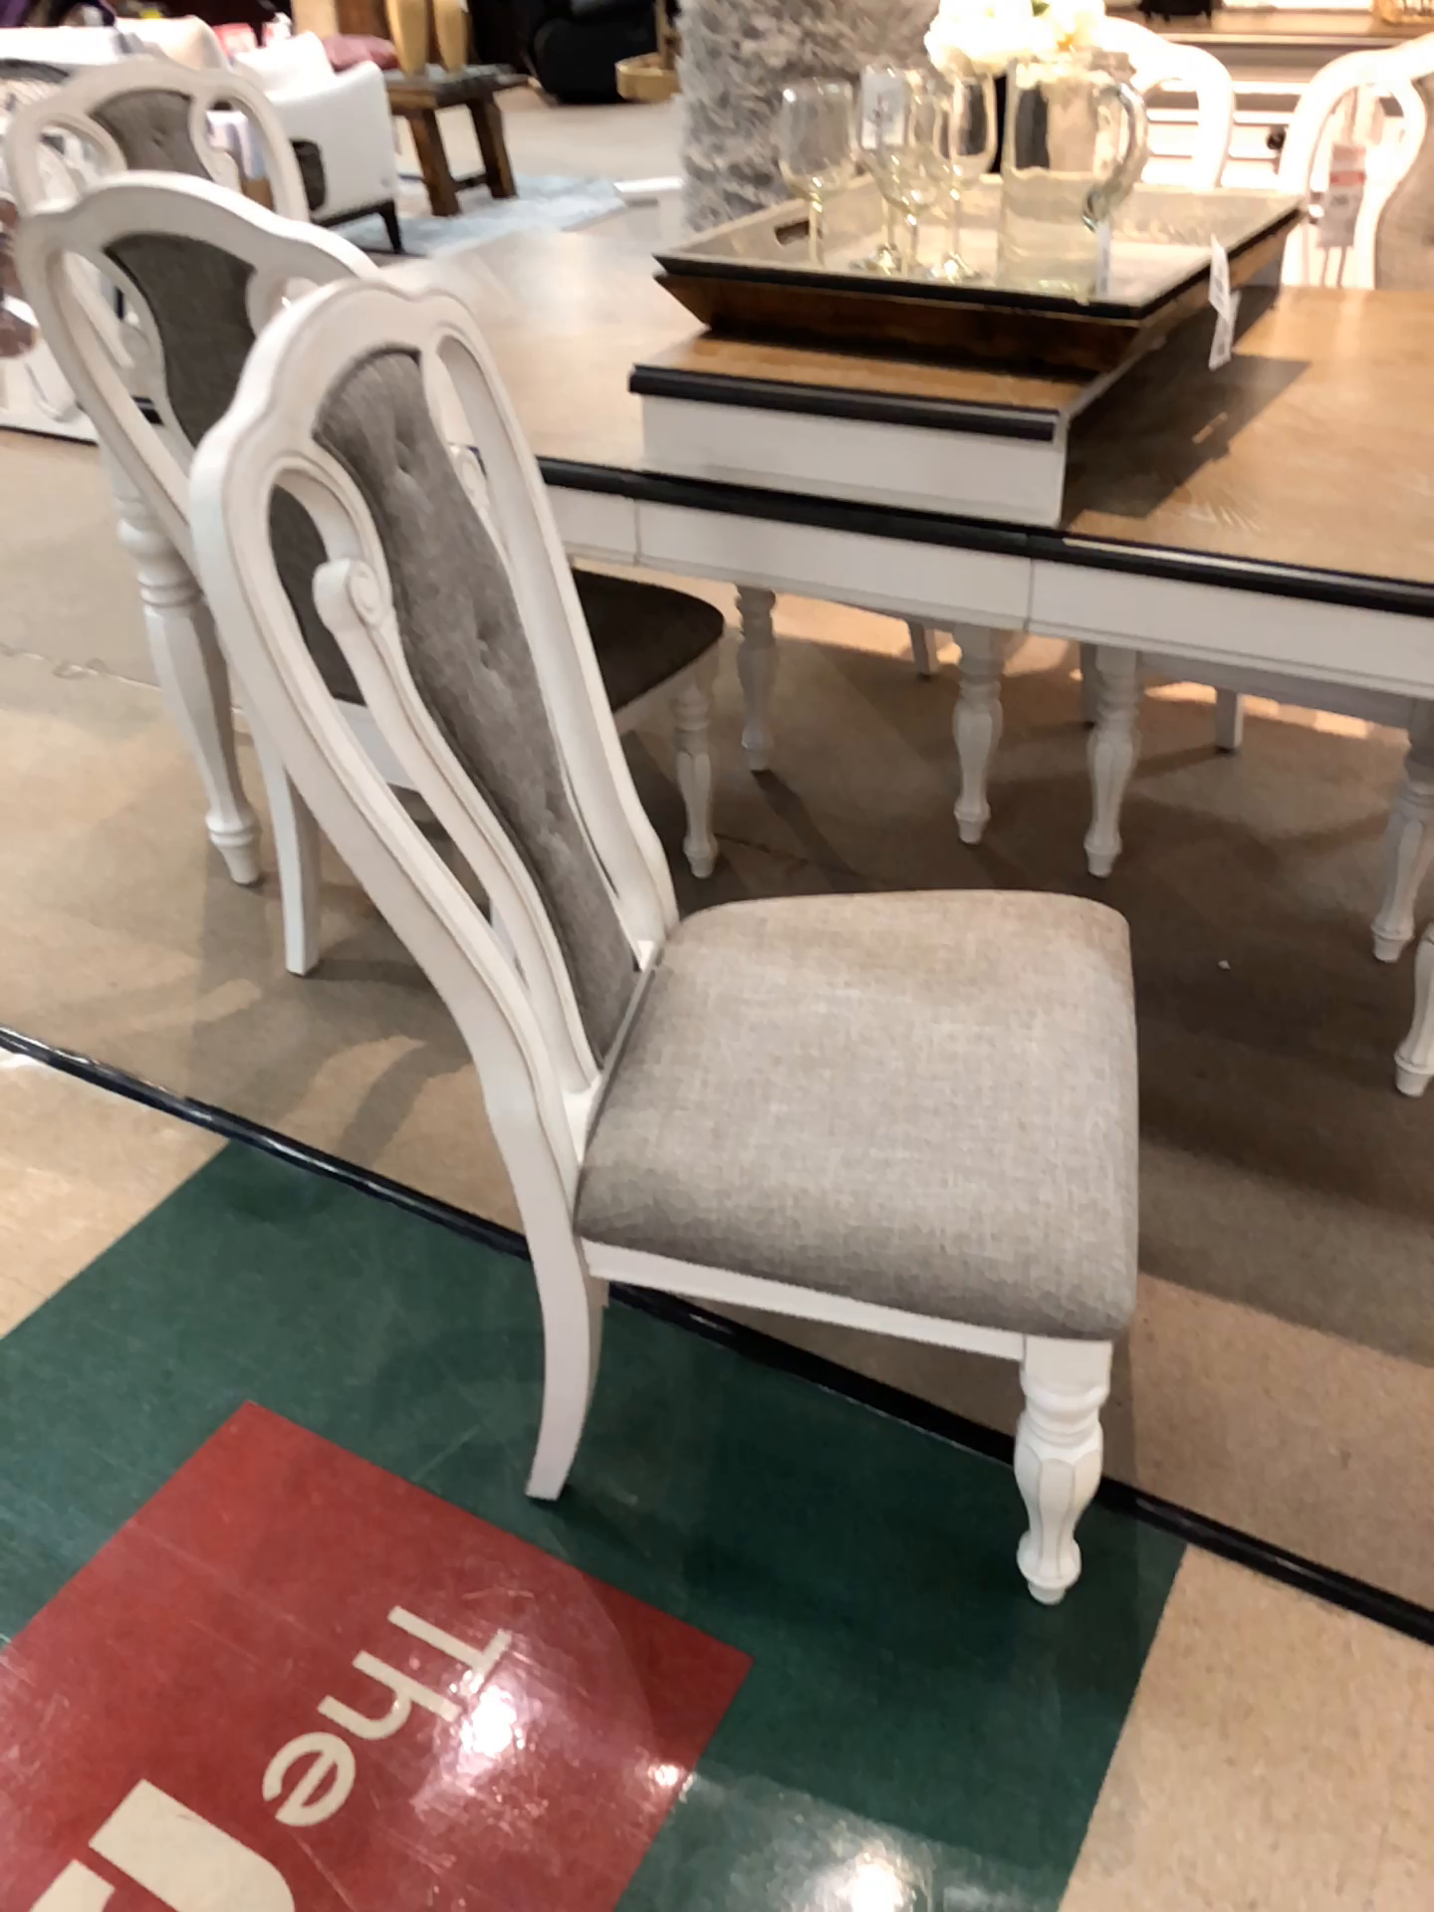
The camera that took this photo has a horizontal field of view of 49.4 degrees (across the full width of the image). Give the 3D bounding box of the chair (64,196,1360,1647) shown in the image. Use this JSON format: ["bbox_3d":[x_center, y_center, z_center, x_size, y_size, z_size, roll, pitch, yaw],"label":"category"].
[{"bbox_3d":[0.048,-0.022,1.298,0.670,1.013,0.554,5,36,11],"label":"chair"}]
